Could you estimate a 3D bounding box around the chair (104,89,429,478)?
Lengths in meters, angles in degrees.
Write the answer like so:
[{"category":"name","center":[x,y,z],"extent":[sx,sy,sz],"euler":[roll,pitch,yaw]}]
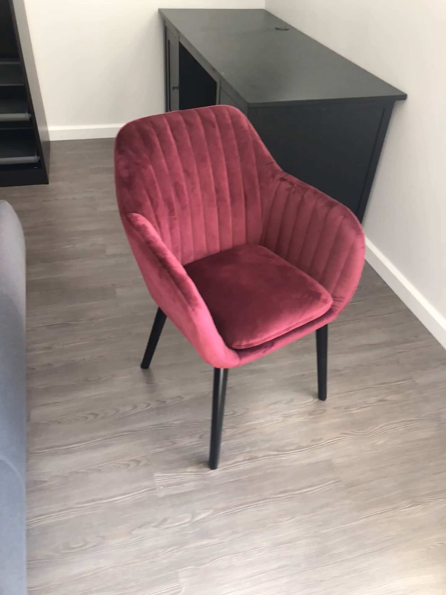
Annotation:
[{"category":"chair","center":[0.059,-0.053,1.399],"extent":[0.542,0.835,0.551],"euler":[-20,45,-27]}]
